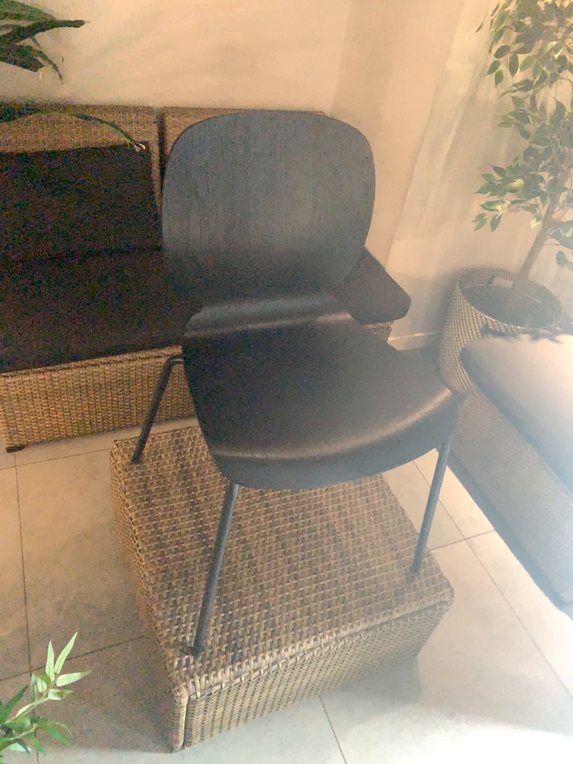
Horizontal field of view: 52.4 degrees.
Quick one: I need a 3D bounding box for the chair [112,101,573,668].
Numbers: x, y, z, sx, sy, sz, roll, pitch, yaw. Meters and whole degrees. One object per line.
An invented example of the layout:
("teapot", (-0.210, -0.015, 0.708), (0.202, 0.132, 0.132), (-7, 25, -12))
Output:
("chair", (0.028, -0.006, 1.066), (0.531, 0.767, 0.562), (-11, 46, -24))
